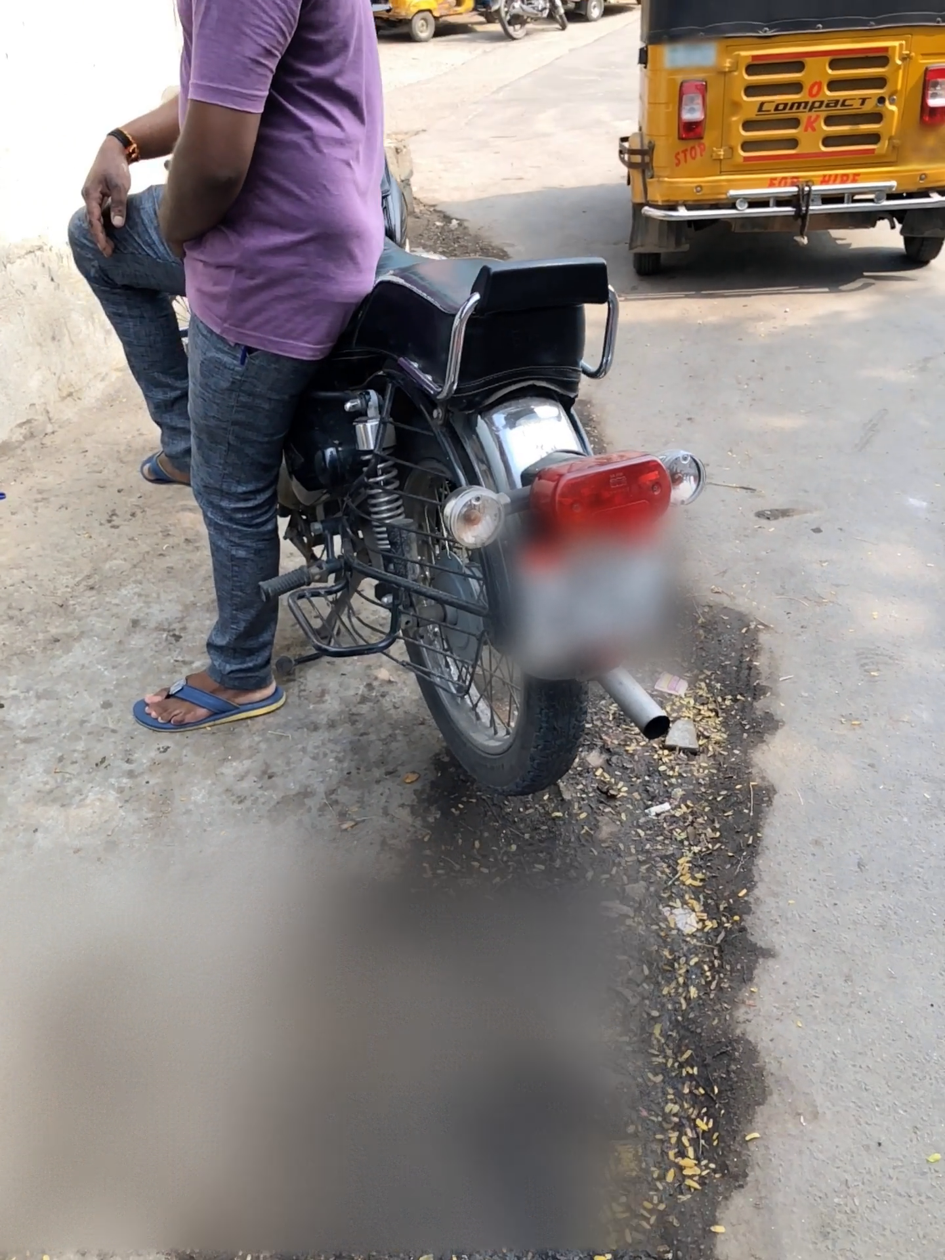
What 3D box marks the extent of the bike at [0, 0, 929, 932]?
[{"bbox_3d":[-0.346,-0.593,2.081,0.841,1.172,1.926,-19,40,-23],"label":"bike"}]
